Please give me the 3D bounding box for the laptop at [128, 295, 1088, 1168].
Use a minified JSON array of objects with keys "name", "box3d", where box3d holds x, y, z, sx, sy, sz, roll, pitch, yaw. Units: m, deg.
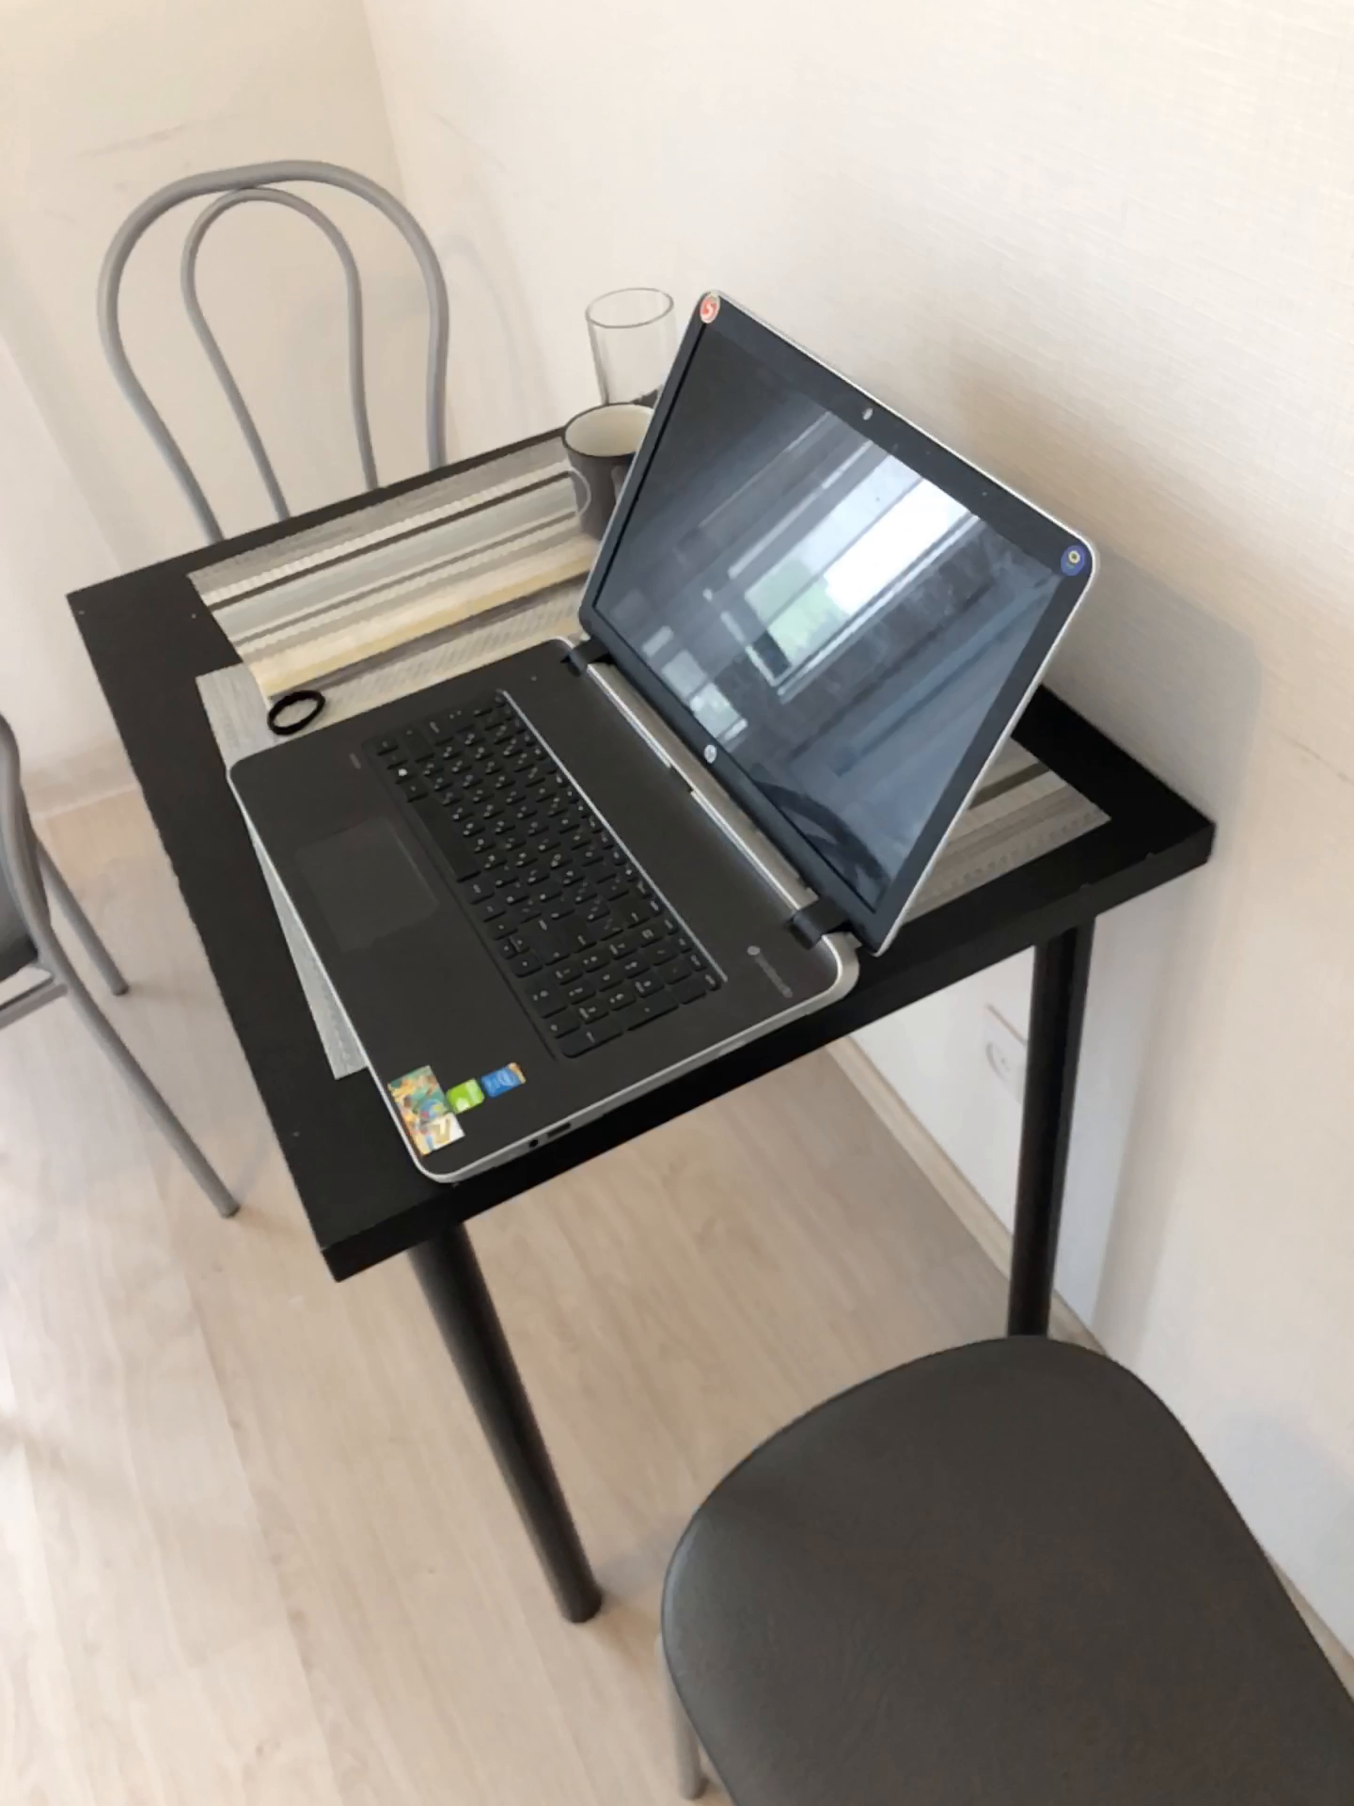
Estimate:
[{"name":"laptop","box3d":[-0.055,-0.139,0.927,0.412,0.227,0.417,-23,46,-15]}]
